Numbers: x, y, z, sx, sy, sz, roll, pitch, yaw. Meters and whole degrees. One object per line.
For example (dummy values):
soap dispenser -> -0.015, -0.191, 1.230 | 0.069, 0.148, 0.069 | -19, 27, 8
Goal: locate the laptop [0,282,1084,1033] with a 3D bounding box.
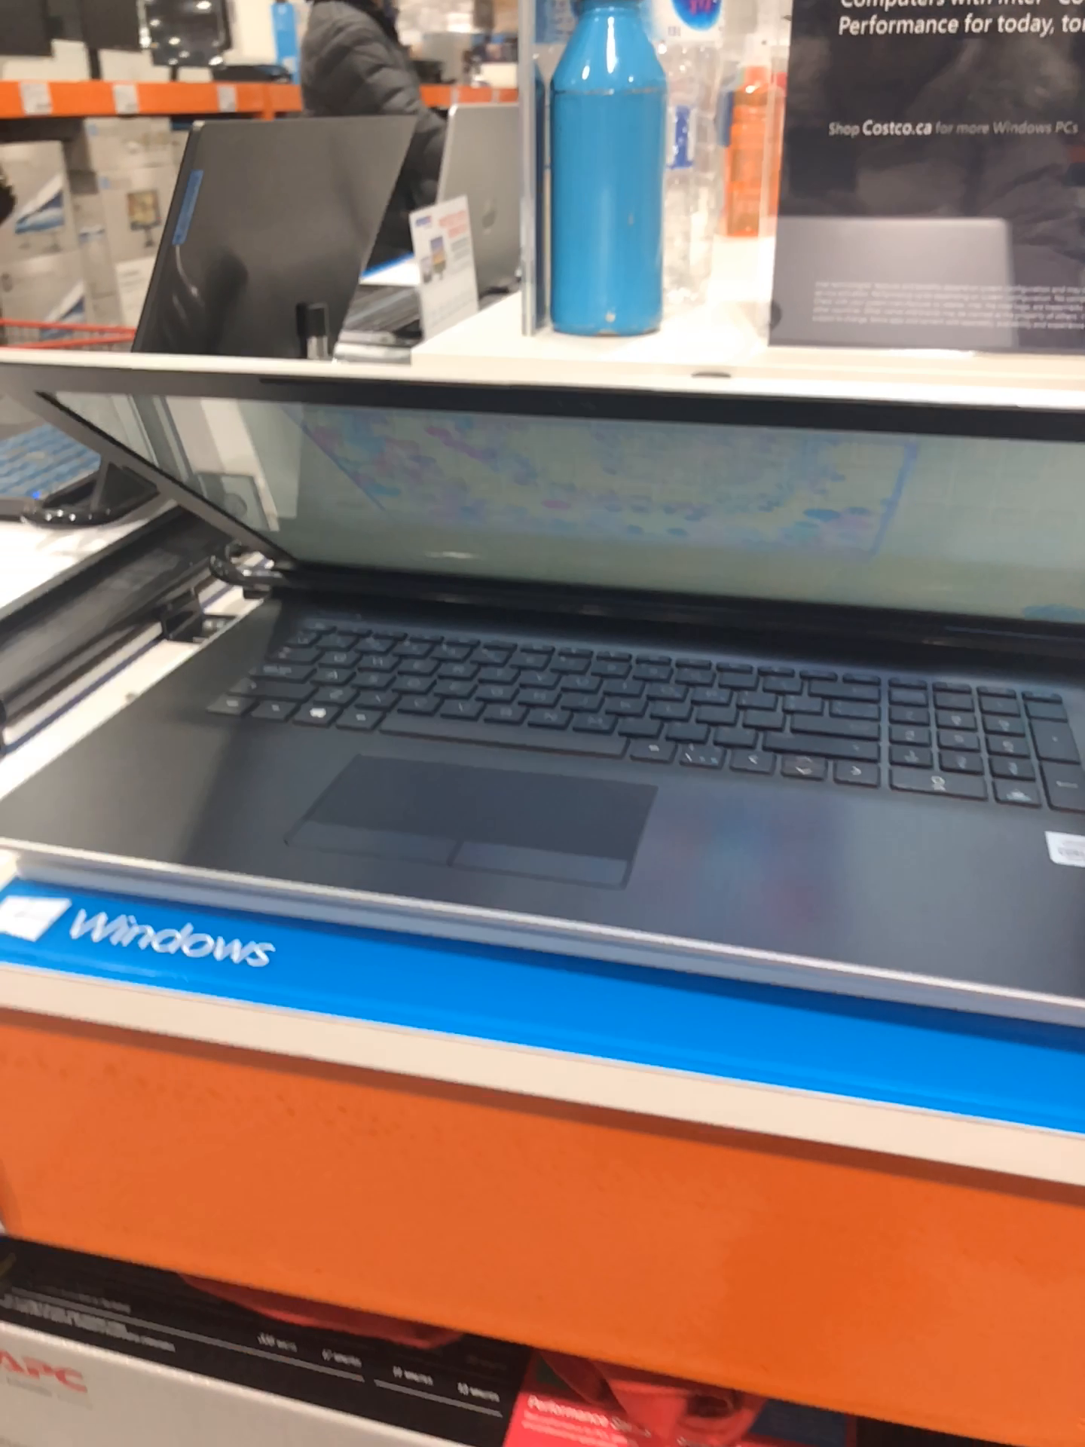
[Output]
laptop -> 0.033, -0.064, 0.433 | 0.405, 0.150, 0.258 | 6, 27, 14

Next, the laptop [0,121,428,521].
laptop -> -0.297, -0.307, 0.851 | 0.330, 0.212, 0.341 | 6, 27, 11
